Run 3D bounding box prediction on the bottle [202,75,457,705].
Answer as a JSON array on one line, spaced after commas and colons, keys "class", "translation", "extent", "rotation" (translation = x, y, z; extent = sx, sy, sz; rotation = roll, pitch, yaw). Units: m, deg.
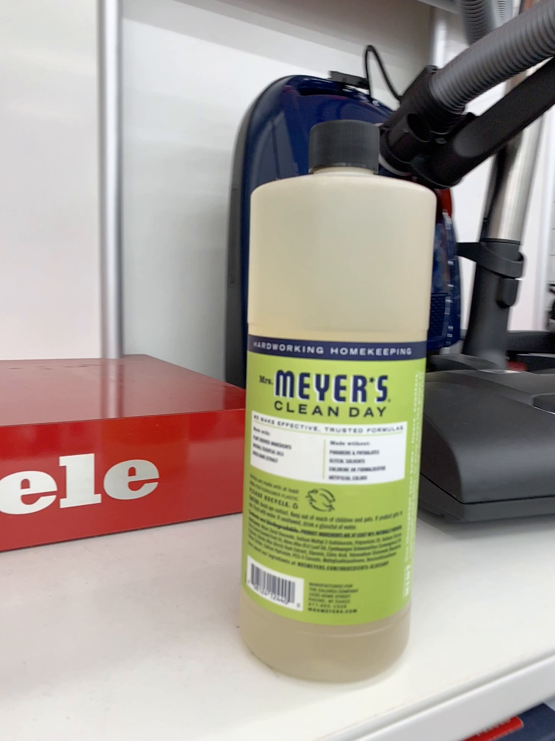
[{"class": "bottle", "translation": [0.022, 0.007, 0.265], "extent": [0.090, 0.240, 0.090], "rotation": [1, 6, 0]}]
